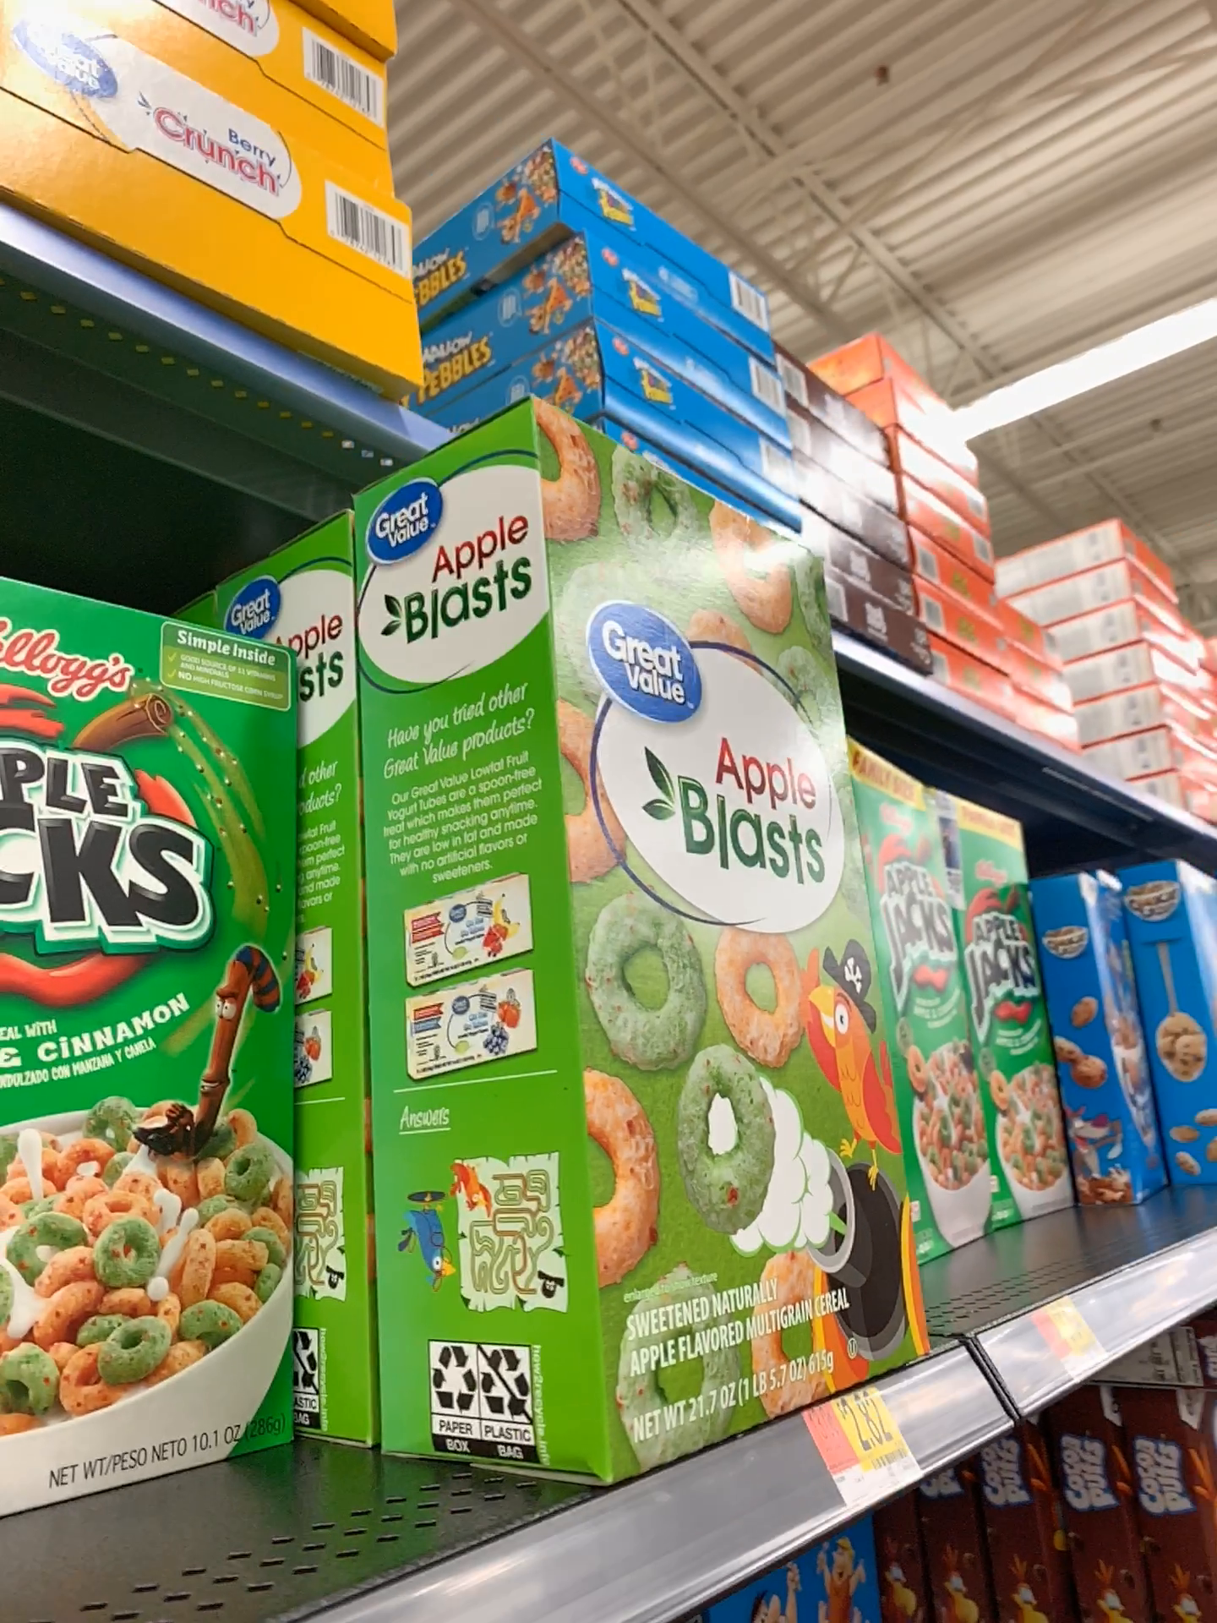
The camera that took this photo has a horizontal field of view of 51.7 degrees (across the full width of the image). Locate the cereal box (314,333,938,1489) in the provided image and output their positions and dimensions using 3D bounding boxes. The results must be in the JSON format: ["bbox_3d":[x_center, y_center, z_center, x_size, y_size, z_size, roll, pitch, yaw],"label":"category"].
[{"bbox_3d":[0.007,0.034,0.459,0.100,0.331,0.200,-16,-19,37],"label":"cereal box"}]
